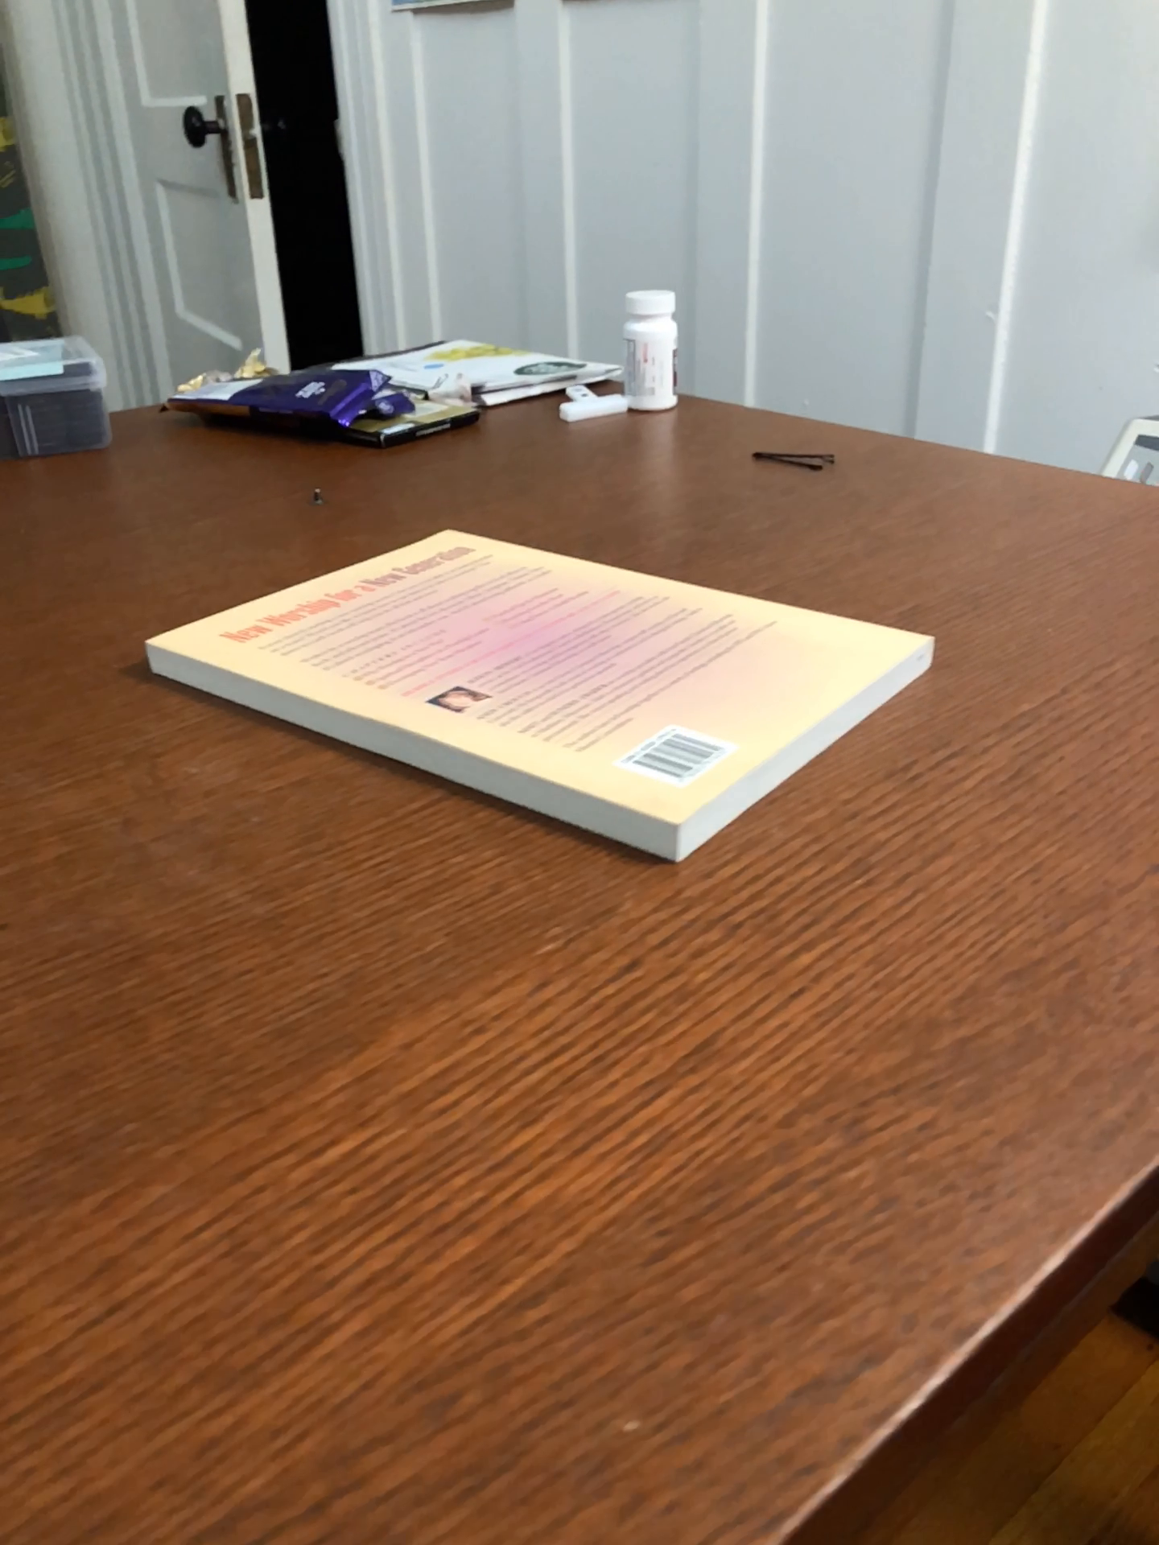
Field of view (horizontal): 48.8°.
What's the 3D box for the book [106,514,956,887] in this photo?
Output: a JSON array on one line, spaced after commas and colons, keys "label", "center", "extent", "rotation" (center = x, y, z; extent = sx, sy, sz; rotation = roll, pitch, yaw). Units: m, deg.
[{"label": "book", "center": [-0.020, -0.048, 0.500], "extent": [0.270, 0.020, 0.191], "rotation": [18, 33, 32]}]
